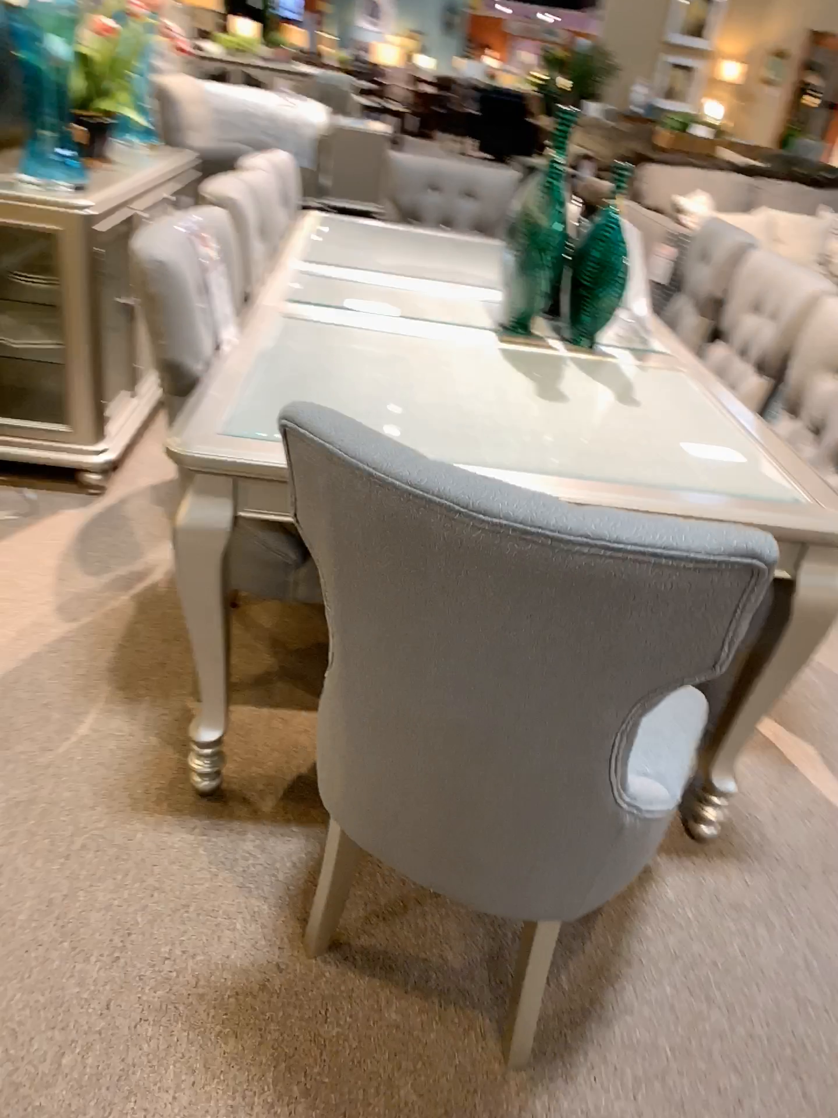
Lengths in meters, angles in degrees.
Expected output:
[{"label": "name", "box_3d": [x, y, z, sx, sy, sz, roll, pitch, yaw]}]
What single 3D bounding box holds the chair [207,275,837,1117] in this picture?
[{"label": "chair", "box_3d": [0.162, 0.182, 1.202, 0.580, 0.915, 0.683, 19, 31, 17]}]
